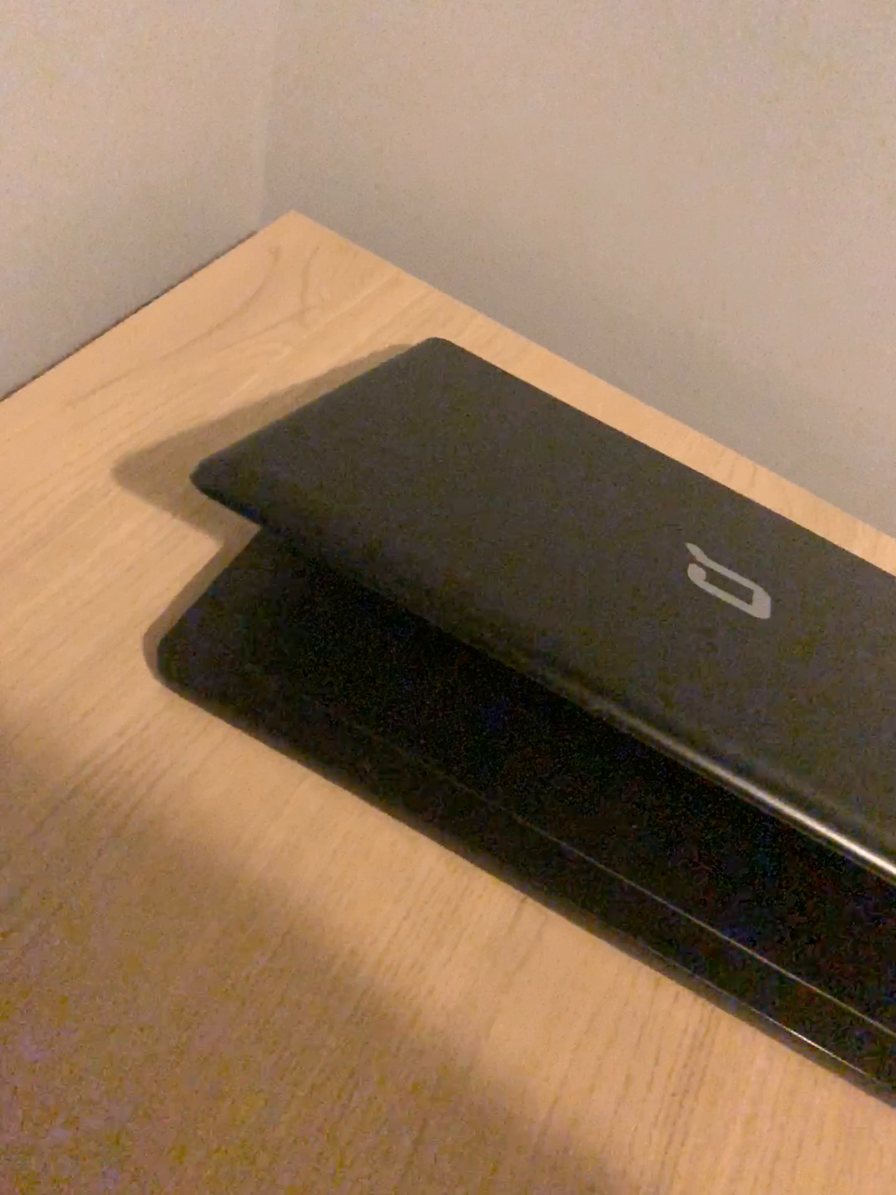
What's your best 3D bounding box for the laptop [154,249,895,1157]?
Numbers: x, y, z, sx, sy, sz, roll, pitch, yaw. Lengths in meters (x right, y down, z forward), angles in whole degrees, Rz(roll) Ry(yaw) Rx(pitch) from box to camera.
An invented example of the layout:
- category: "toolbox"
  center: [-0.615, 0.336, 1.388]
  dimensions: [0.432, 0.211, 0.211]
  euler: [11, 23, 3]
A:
- category: "laptop"
  center: [0.105, 0.016, 0.387]
  dimensions: [0.373, 0.064, 0.225]
  euler: [29, 54, 5]
